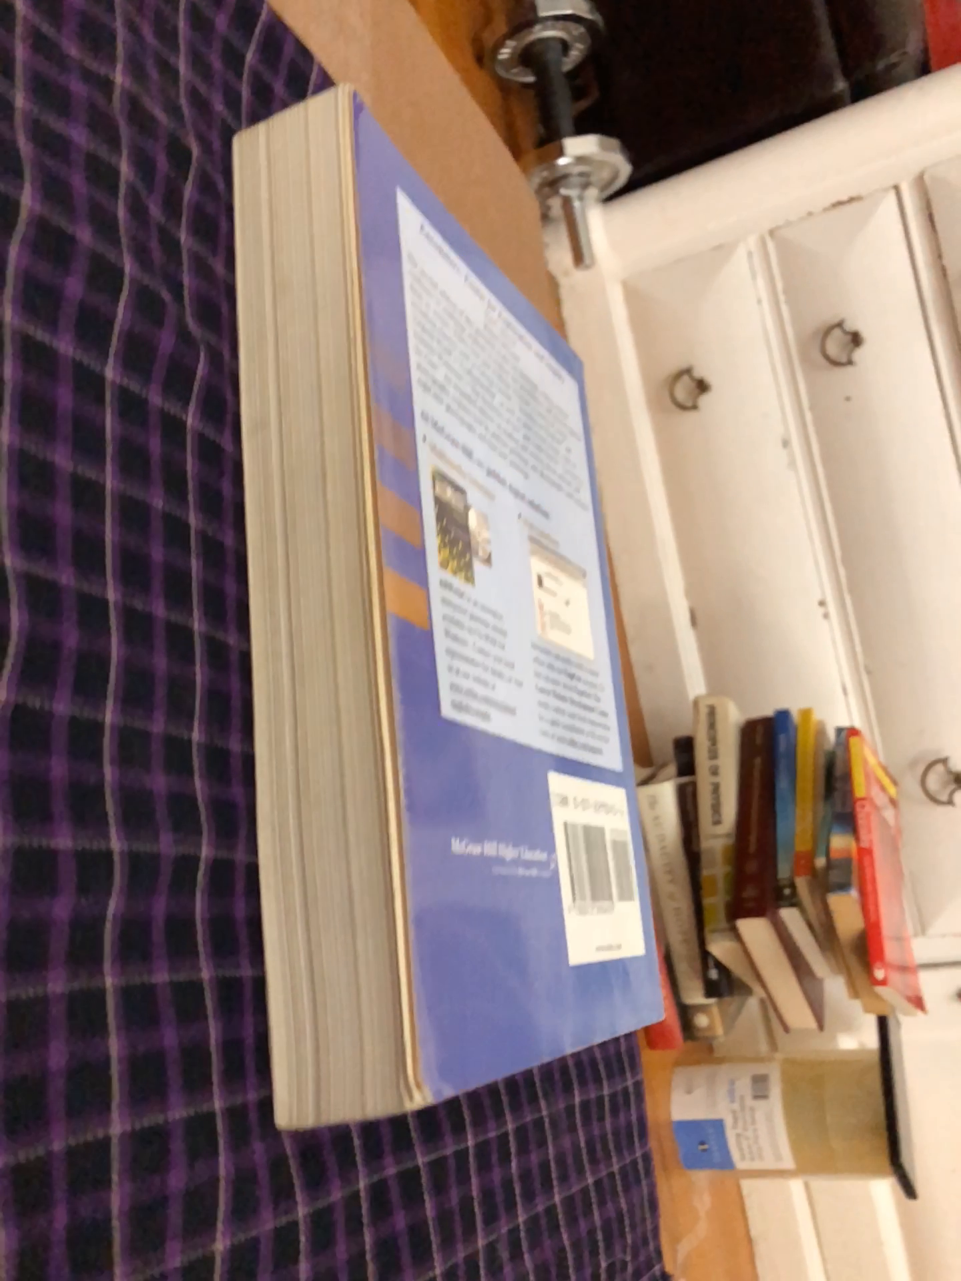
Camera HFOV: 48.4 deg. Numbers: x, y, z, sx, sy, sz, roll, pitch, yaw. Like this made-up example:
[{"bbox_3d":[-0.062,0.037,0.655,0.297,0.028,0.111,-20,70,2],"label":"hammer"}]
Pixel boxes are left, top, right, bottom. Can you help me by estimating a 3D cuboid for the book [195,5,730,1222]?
[{"bbox_3d":[0.005,-0.003,0.289,0.181,0.040,0.240,21,59,-61],"label":"book"}]
